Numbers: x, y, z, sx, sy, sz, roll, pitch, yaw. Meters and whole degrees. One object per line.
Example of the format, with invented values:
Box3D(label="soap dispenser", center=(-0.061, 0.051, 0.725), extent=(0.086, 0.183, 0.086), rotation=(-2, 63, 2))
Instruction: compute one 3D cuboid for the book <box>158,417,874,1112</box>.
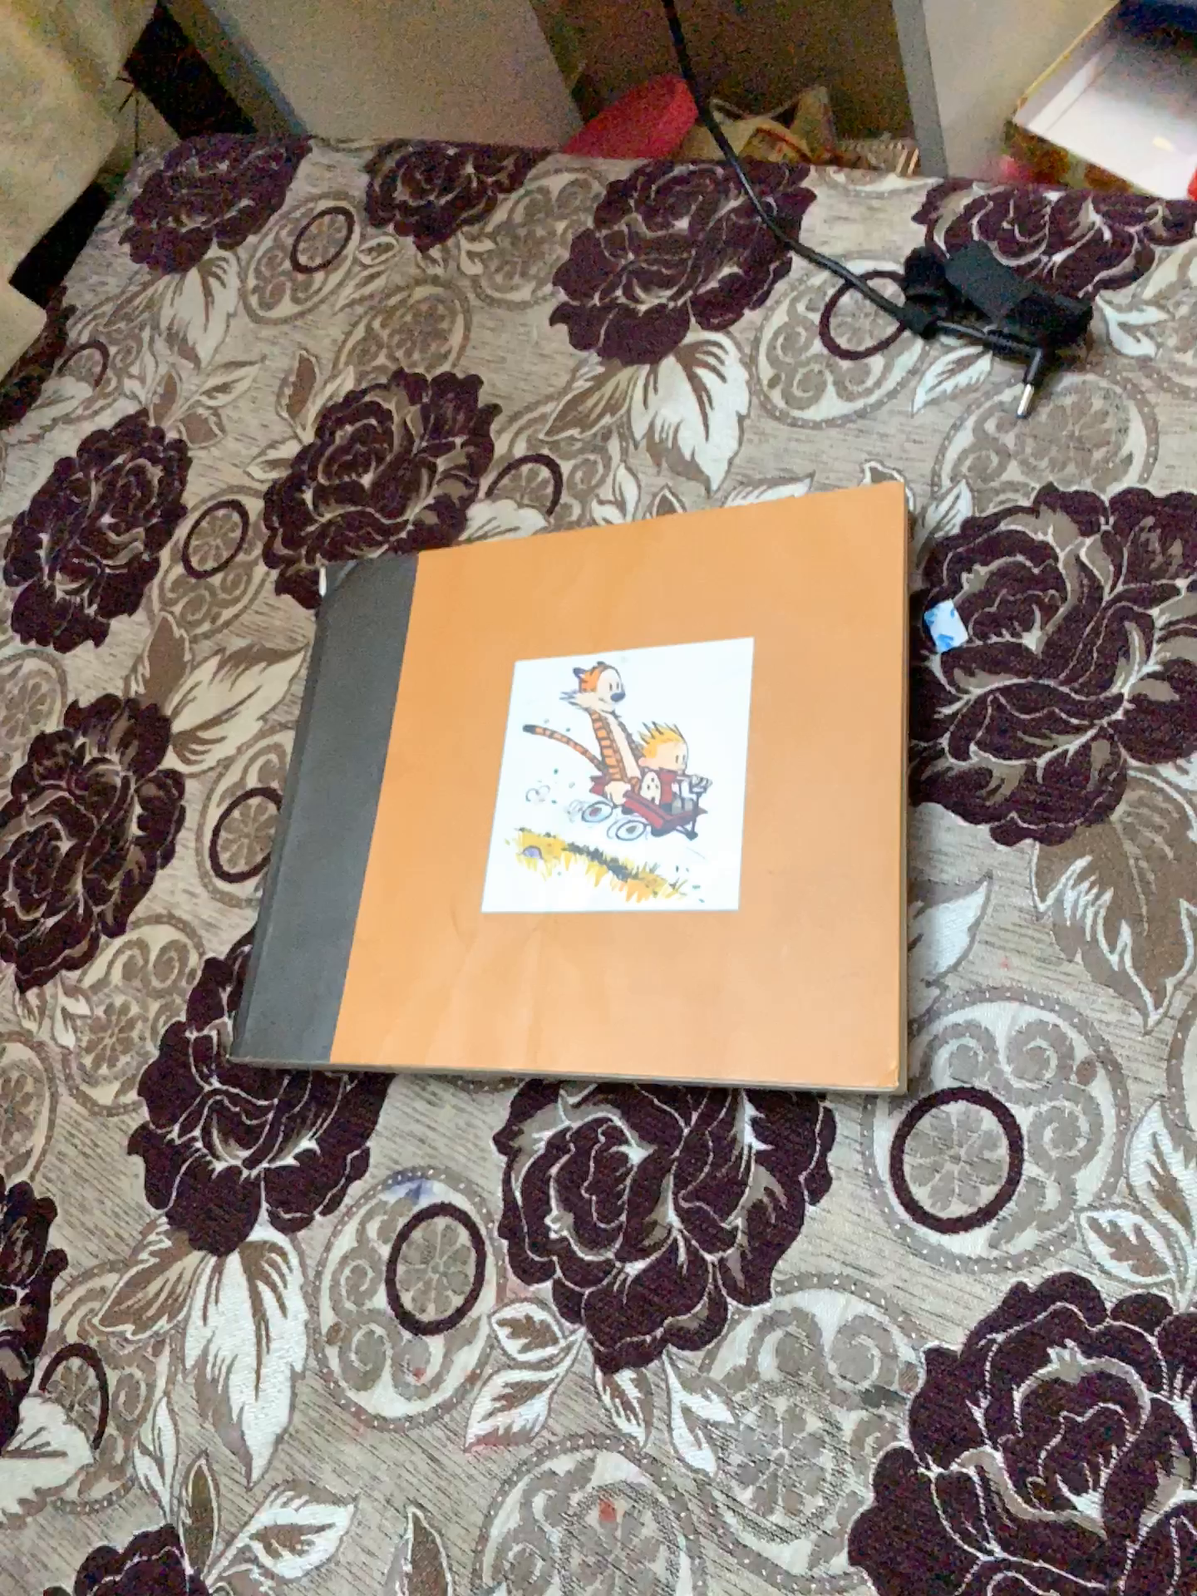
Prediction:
Box3D(label="book", center=(-0.030, -0.014, 0.503), extent=(0.270, 0.040, 0.261), rotation=(-3, 66, 23))
